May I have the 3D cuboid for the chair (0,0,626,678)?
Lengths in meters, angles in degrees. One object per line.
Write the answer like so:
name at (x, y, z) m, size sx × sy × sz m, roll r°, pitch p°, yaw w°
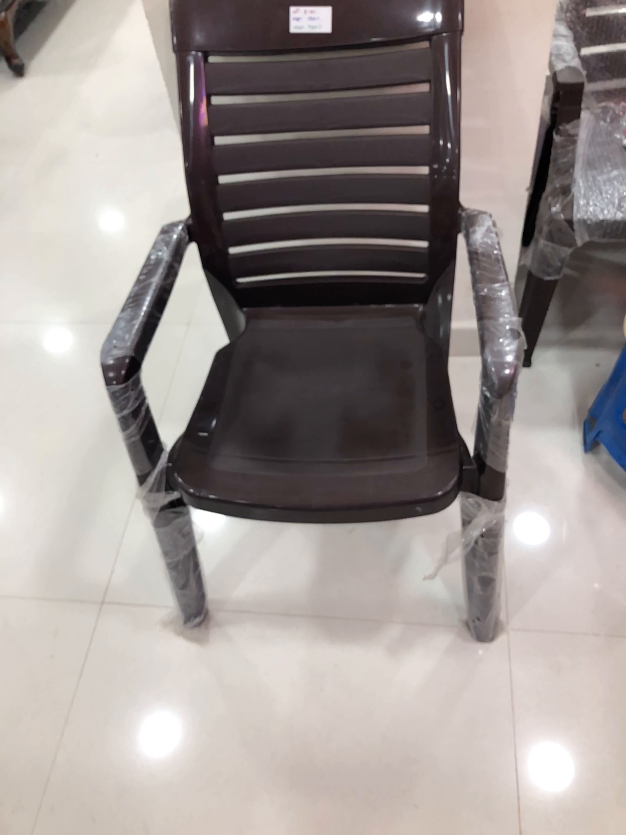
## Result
chair at (0.009, -0.101, 1.193) m, size 0.640 × 1.004 × 0.674 m, roll 1°, pitch 48°, yaw 7°
